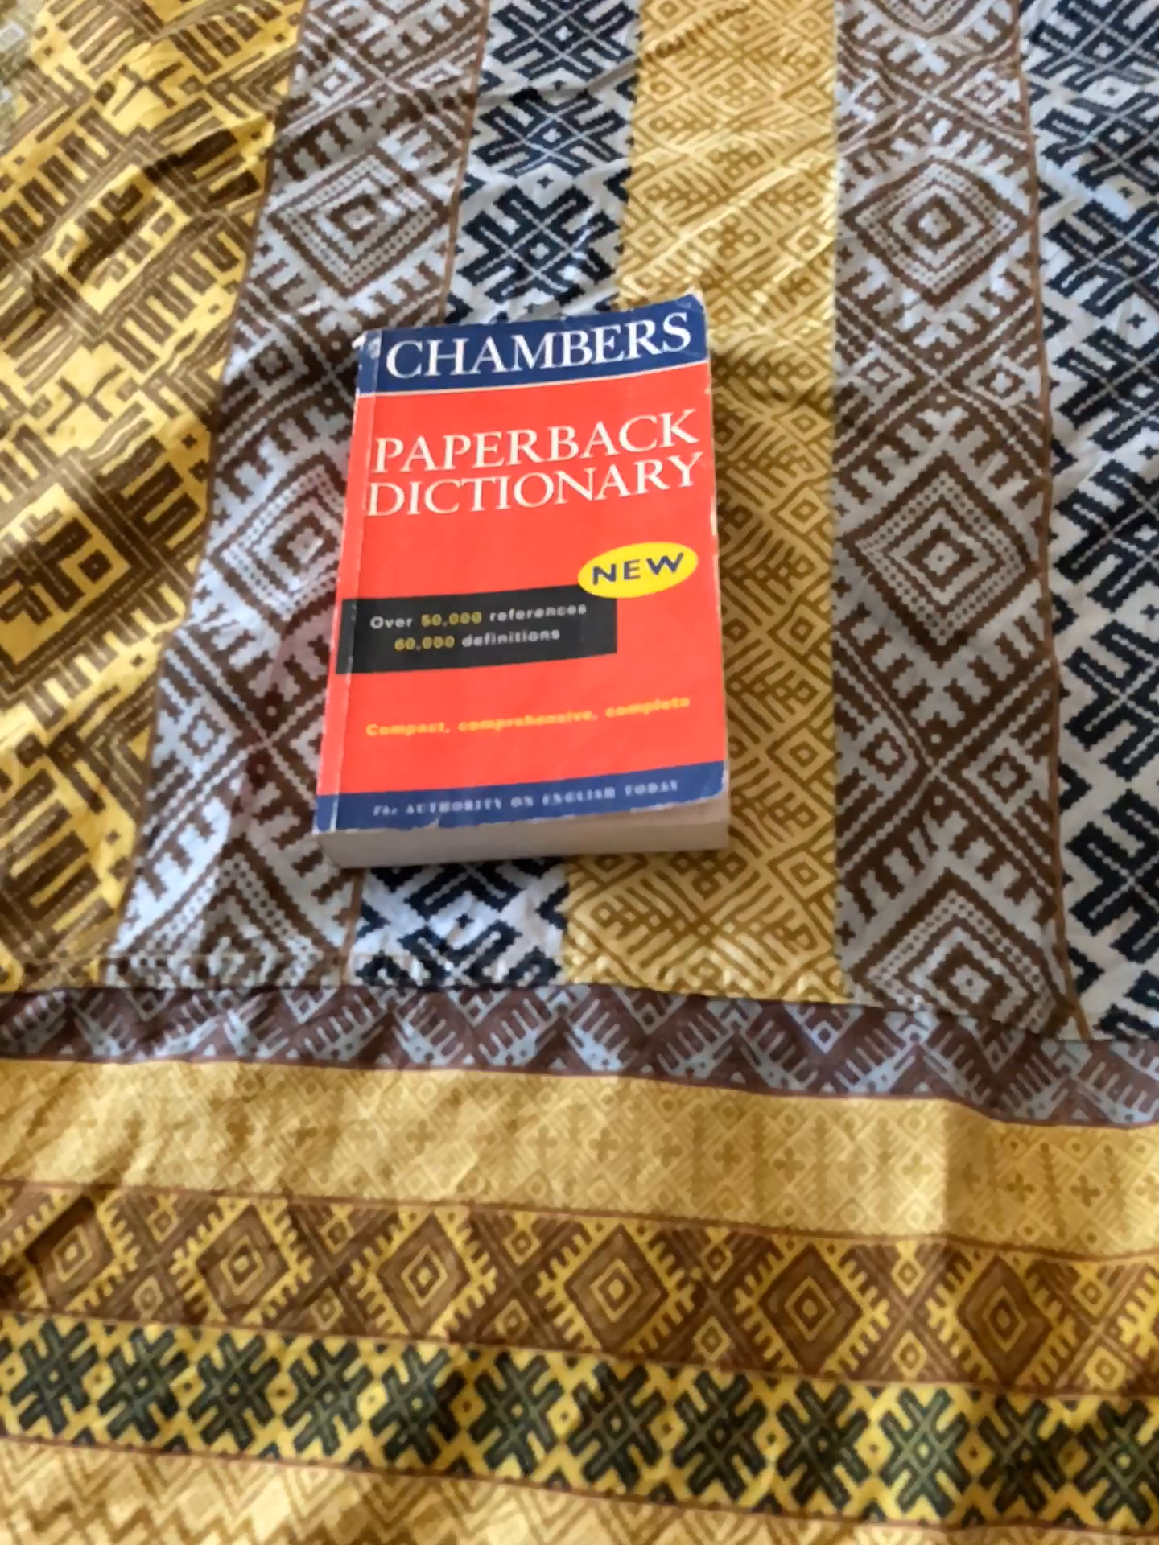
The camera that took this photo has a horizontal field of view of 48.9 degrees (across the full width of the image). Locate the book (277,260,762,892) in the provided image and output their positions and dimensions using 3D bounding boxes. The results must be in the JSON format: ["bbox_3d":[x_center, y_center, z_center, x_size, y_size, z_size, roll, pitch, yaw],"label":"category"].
[{"bbox_3d":[-0.015,-0.056,0.355,0.117,0.044,0.166,-4,67,6],"label":"book"}]
